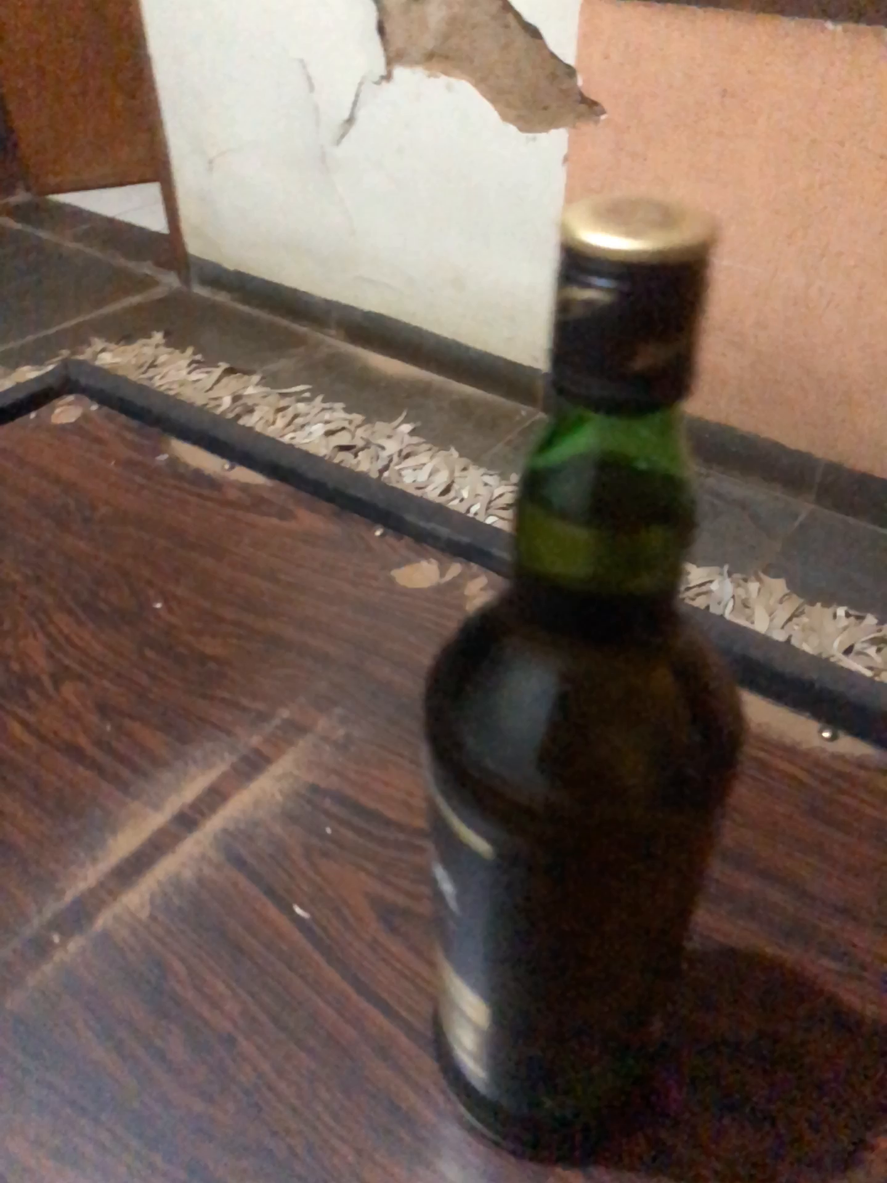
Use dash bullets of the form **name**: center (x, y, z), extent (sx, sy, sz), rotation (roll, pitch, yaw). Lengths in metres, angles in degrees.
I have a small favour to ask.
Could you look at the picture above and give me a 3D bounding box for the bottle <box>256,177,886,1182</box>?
- **bottle**: center (0.036, 0.061, 0.278), extent (0.100, 0.308, 0.101), rotation (-1, 39, 1)
